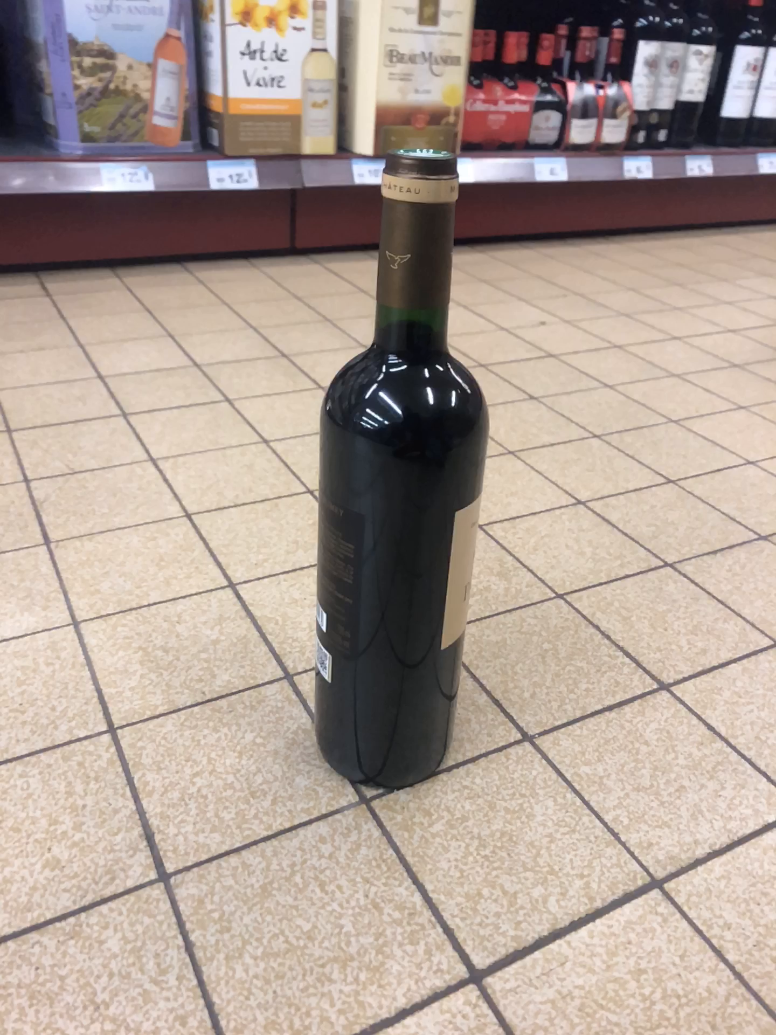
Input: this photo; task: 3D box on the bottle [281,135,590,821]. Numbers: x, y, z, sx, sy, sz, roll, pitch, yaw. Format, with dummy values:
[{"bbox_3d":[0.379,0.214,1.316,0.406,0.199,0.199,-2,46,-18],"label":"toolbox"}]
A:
[{"bbox_3d":[0.005,-0.006,0.378,0.090,0.288,0.080,-5,31,-15],"label":"bottle"}]
